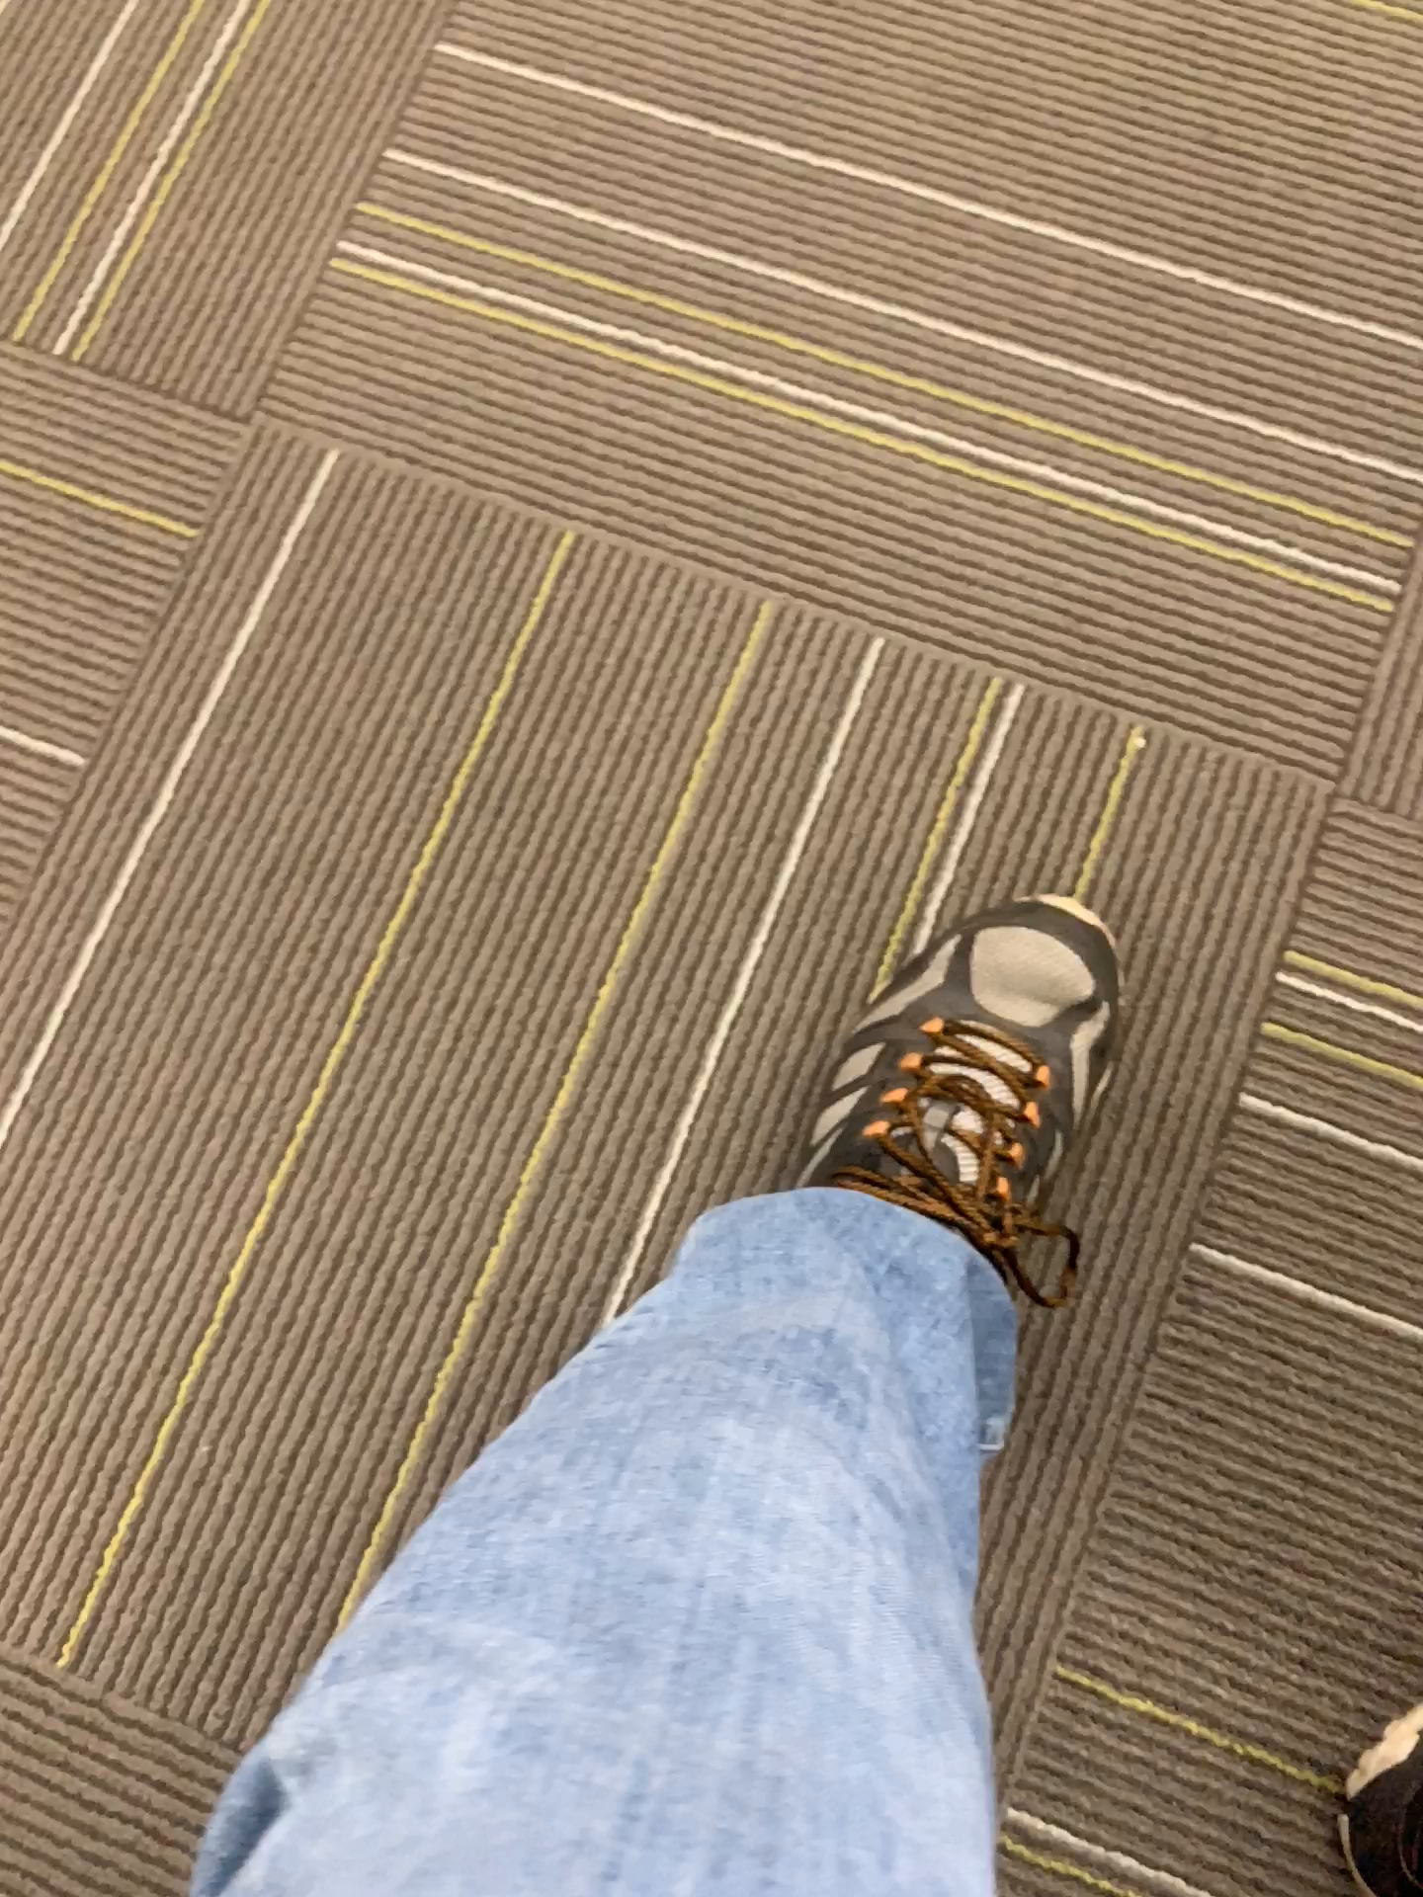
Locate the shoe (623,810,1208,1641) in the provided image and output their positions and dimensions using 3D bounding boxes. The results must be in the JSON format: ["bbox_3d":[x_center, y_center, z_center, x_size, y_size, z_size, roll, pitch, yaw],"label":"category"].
[{"bbox_3d":[0.092,0.117,0.668,0.125,0.095,0.323,25,81,7],"label":"shoe"}]

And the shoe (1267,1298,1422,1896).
[{"bbox_3d":[0.404,0.308,0.614,0.322,0.095,0.122,-44,80,-6],"label":"shoe"}]
